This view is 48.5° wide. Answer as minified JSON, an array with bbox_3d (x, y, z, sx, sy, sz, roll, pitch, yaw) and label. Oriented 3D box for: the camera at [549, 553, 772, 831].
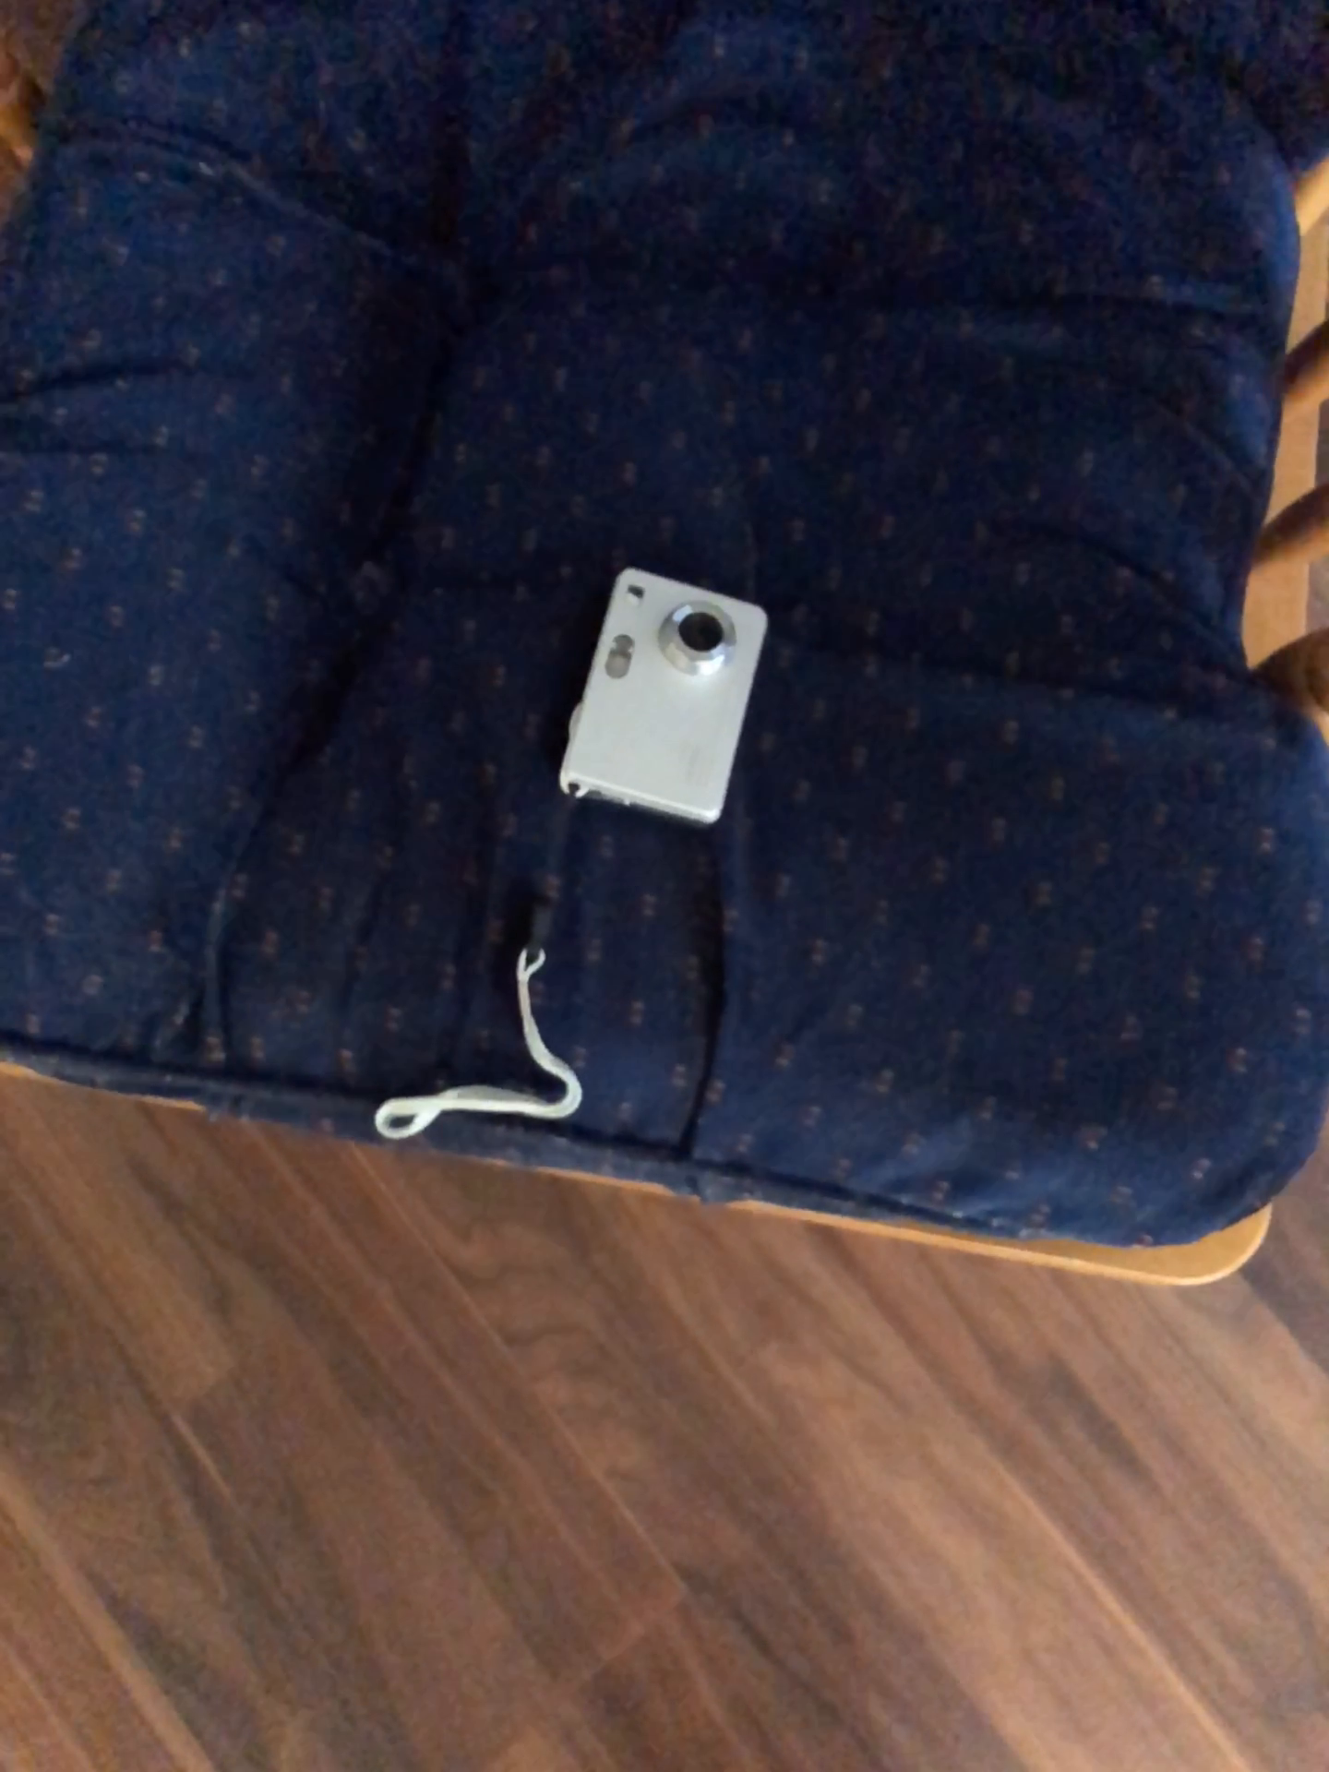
[{"bbox_3d":[-0.001,-0.068,0.514,0.058,0.018,0.085,15,70,-3],"label":"camera"}]
